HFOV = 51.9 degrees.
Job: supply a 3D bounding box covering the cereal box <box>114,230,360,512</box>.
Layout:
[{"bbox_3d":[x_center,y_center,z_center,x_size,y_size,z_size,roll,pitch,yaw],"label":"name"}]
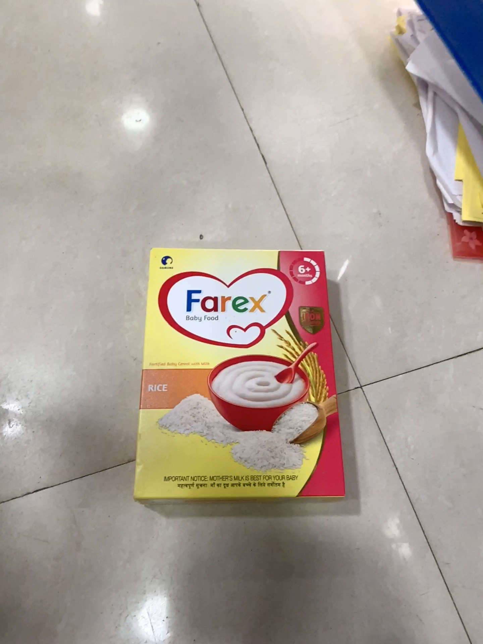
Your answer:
[{"bbox_3d":[-0.006,0.035,0.392,0.160,0.060,0.210,0,67,-4],"label":"cereal box"}]
